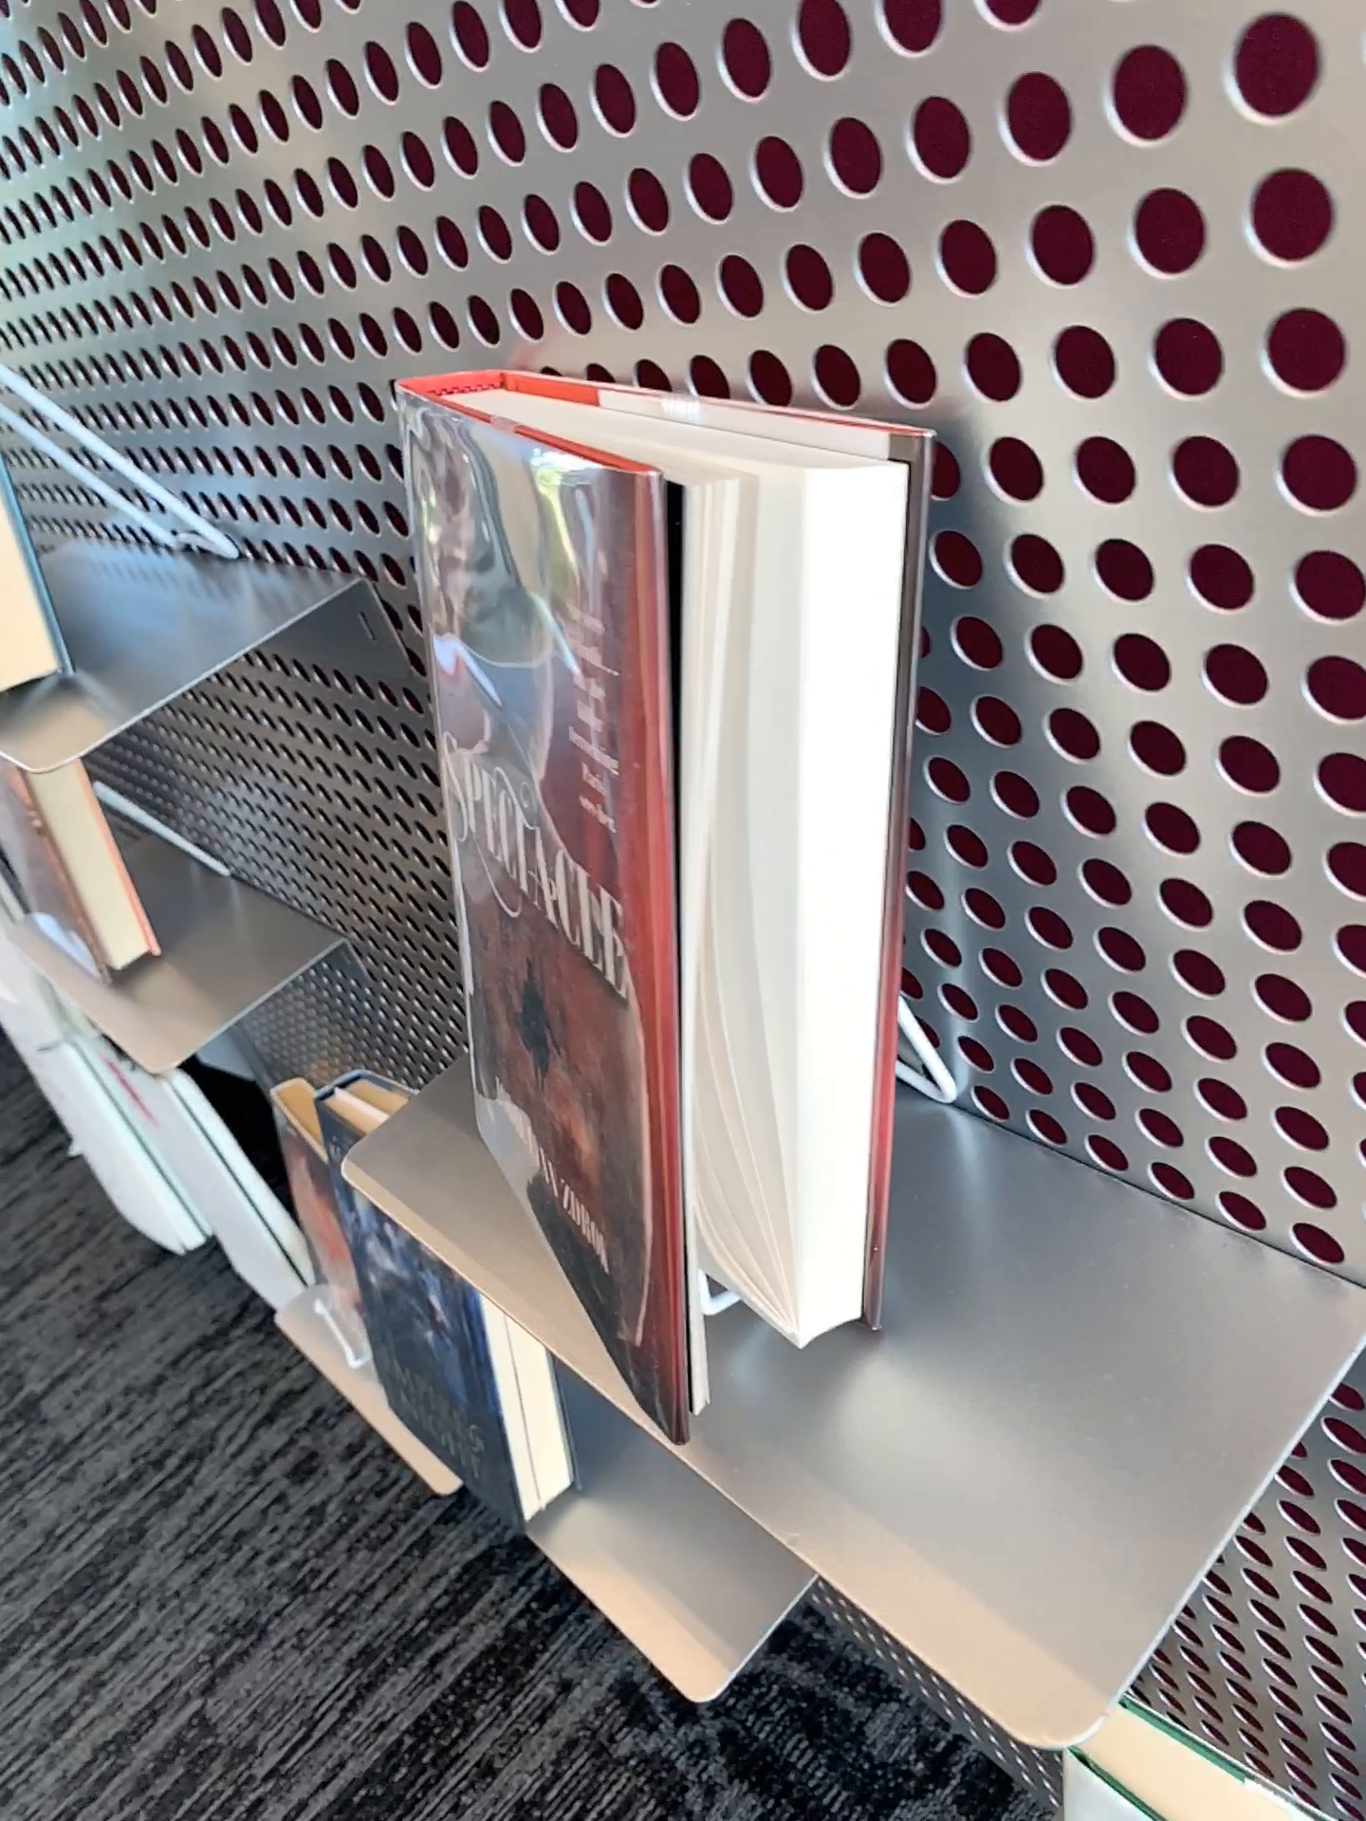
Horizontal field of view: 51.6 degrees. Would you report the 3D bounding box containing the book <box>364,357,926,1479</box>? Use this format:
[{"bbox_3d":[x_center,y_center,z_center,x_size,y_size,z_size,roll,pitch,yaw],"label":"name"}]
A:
[{"bbox_3d":[-0.014,-0.010,0.331,0.059,0.211,0.154,-13,28,-20],"label":"book"}]
